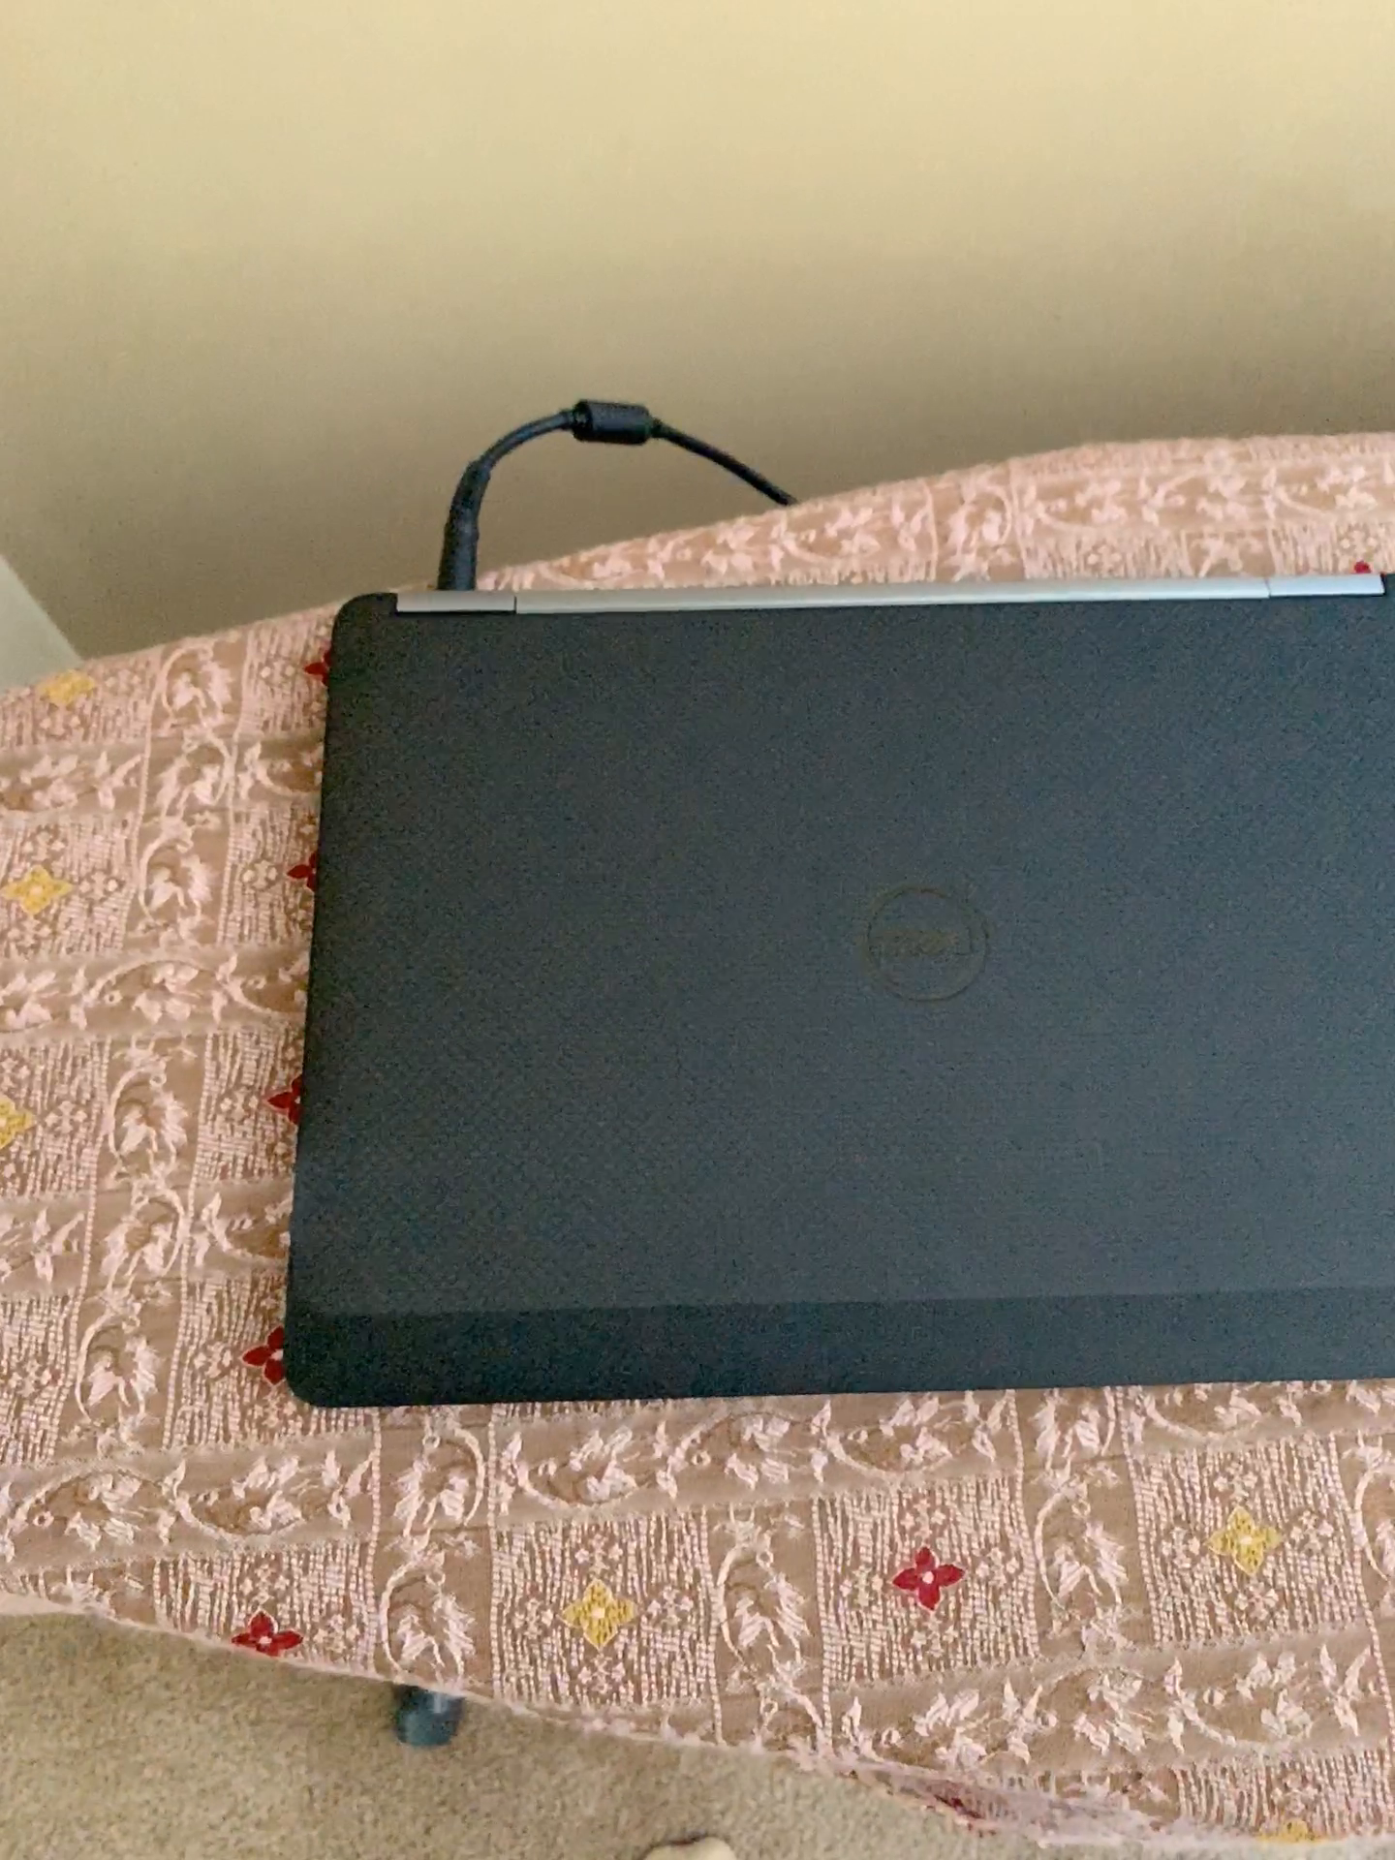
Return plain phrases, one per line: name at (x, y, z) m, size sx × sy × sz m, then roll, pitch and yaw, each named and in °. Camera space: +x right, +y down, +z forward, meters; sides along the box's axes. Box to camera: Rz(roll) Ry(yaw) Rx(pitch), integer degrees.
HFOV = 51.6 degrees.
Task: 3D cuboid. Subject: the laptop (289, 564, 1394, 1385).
laptop at (0.052, 0.007, 0.359) m, size 0.293 × 0.017 × 0.197 m, roll -2°, pitch 73°, yaw 3°
